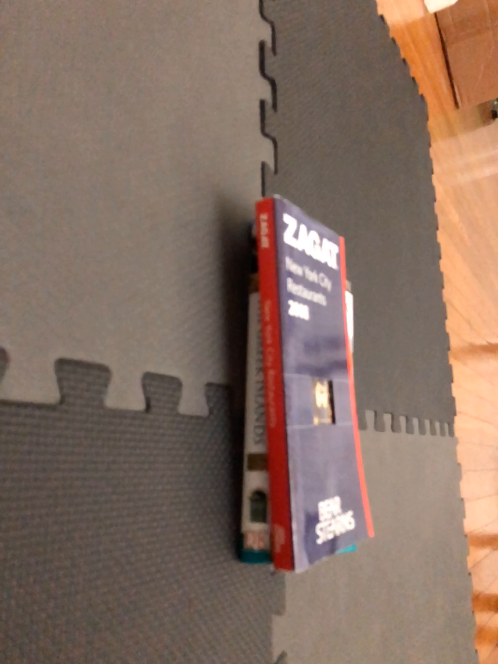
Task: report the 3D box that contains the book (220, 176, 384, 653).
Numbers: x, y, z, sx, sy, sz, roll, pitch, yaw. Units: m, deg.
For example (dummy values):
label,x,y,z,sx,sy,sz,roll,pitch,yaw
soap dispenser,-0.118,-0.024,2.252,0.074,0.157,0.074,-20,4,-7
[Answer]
label,x,y,z,sx,sy,sz,roll,pitch,yaw
book,0.045,0.051,0.374,0.171,0.030,0.260,22,65,-55

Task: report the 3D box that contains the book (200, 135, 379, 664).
label,x,y,z,sx,sy,sz,roll,pitch,yaw
book,0.031,0.032,0.322,0.151,0.020,0.250,7,77,-58
